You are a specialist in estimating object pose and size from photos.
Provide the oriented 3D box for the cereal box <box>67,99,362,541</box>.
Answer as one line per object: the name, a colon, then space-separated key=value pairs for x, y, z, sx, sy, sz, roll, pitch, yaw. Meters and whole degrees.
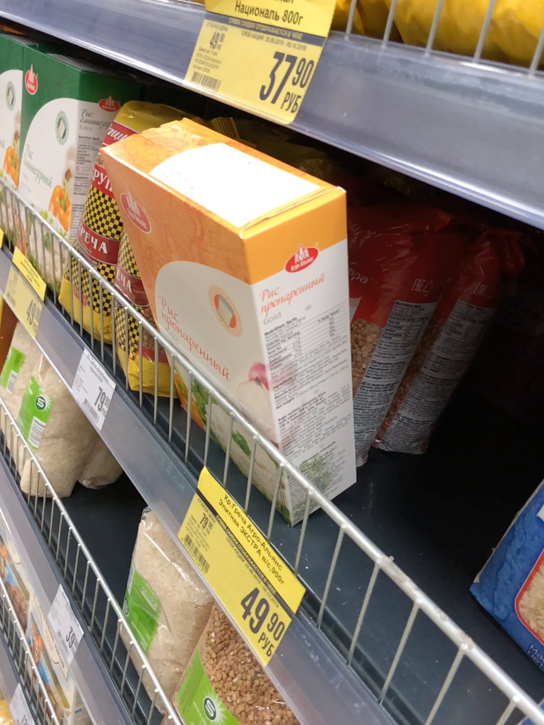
cereal box: x=-0.024 y=-0.020 z=0.322 sx=0.060 sy=0.189 sz=0.140 roll=-30 pitch=46 yaw=-22
